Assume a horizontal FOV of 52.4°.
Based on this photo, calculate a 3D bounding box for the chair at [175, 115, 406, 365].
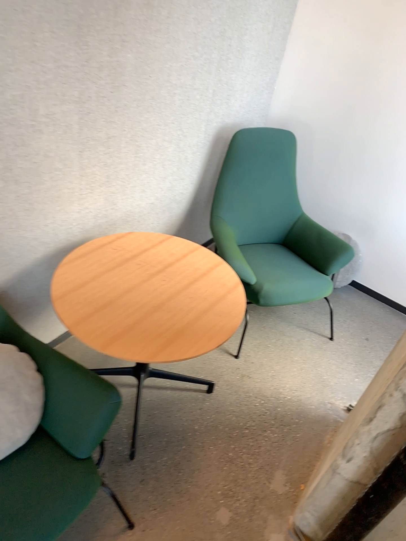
[{"bbox_3d":[0.436,-0.221,2.403,0.820,0.954,1.005,-5,41,-22],"label":"chair"}]

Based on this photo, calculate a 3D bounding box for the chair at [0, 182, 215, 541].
[{"bbox_3d":[-0.641,0.468,1.297,0.852,1.034,0.833,33,42,25],"label":"chair"}]
